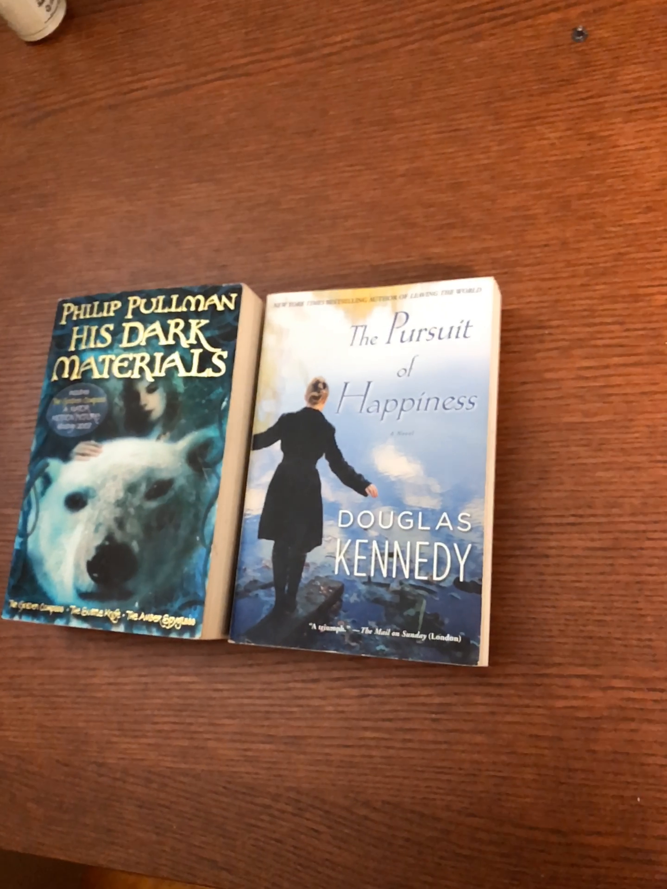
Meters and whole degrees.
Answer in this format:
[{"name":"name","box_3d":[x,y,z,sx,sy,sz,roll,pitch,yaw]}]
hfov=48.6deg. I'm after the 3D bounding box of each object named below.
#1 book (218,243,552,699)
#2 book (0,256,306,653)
[{"name":"book","box_3d":[0.035,0.010,0.443,0.180,0.040,0.250,0,75,19]},{"name":"book","box_3d":[-0.123,0.004,0.504,0.180,0.050,0.250,0,75,19]}]
